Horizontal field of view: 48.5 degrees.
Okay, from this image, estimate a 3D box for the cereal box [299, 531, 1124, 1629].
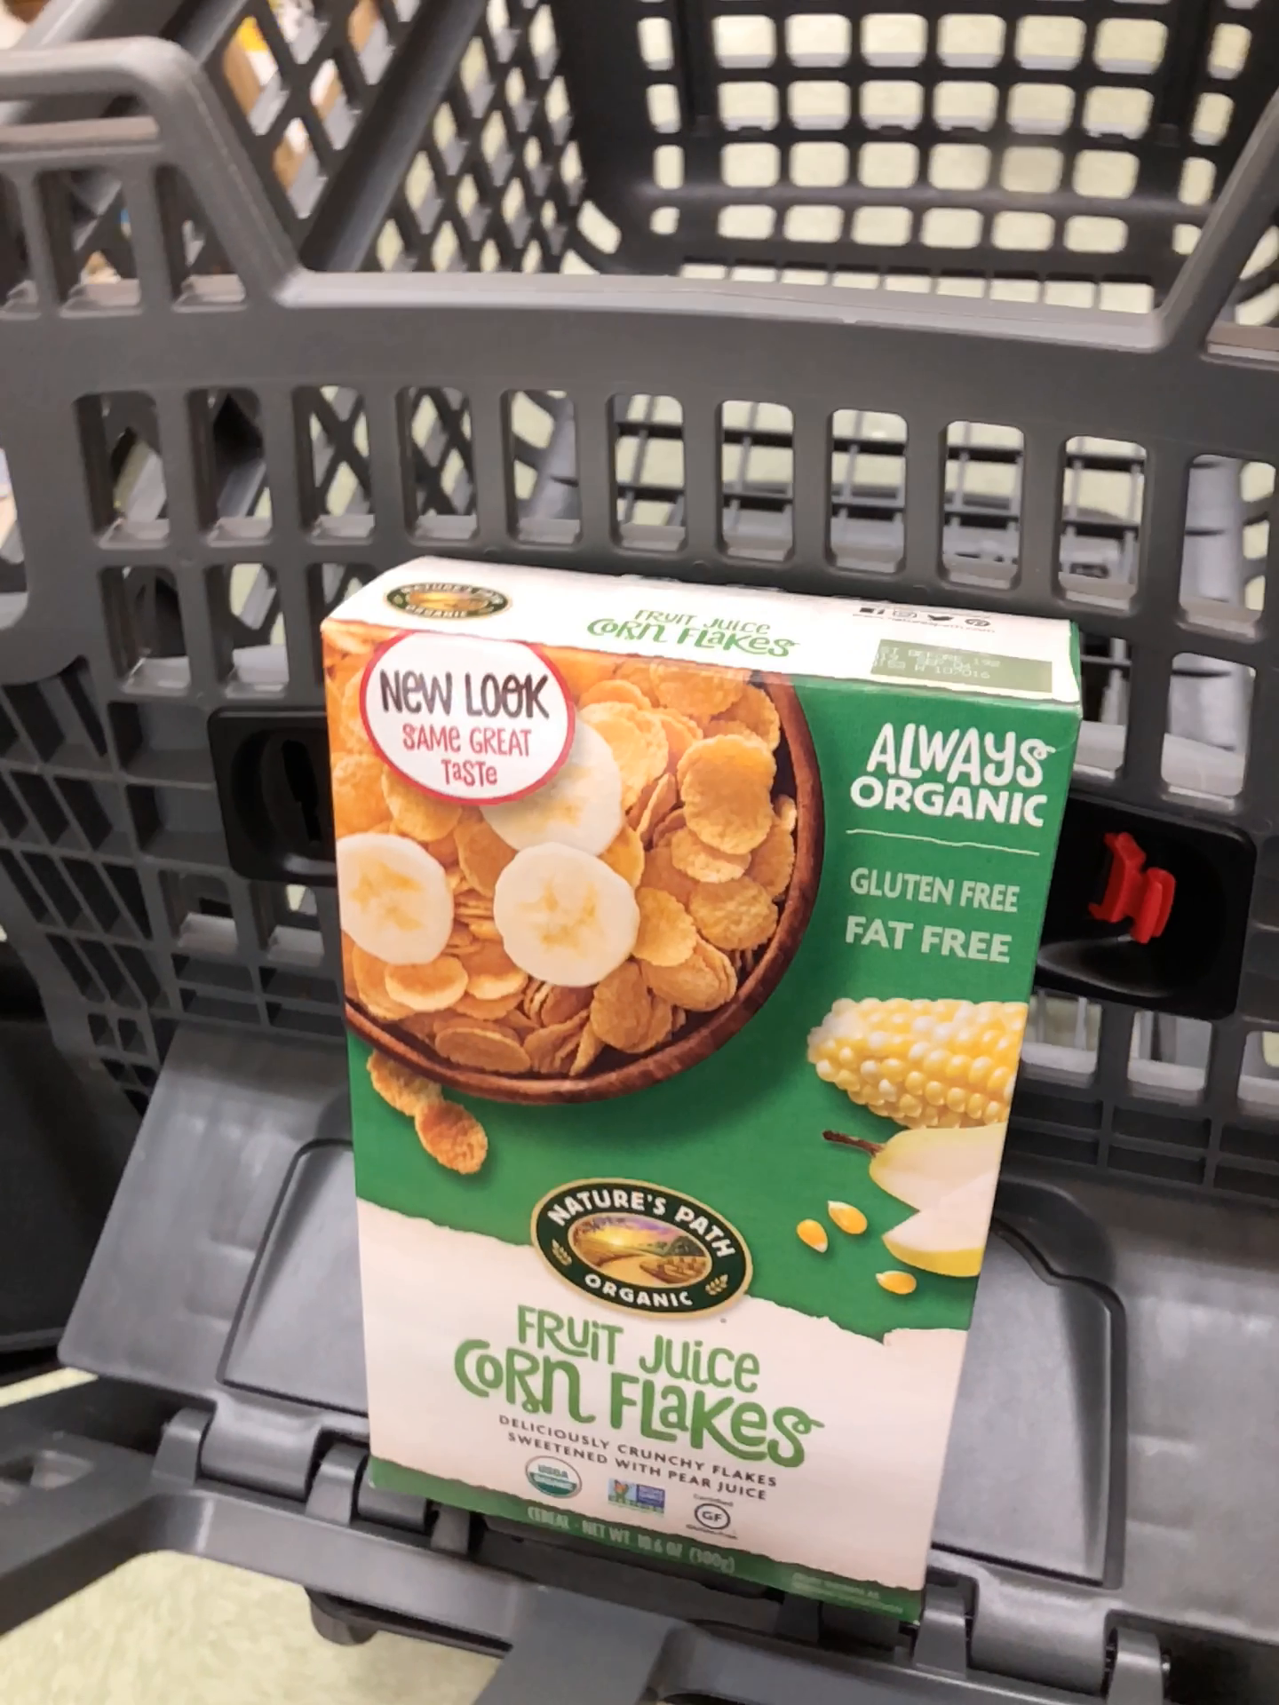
[{"bbox_3d":[0.012,0.054,0.332,0.150,0.230,0.070,8,25,12],"label":"cereal box"}]
